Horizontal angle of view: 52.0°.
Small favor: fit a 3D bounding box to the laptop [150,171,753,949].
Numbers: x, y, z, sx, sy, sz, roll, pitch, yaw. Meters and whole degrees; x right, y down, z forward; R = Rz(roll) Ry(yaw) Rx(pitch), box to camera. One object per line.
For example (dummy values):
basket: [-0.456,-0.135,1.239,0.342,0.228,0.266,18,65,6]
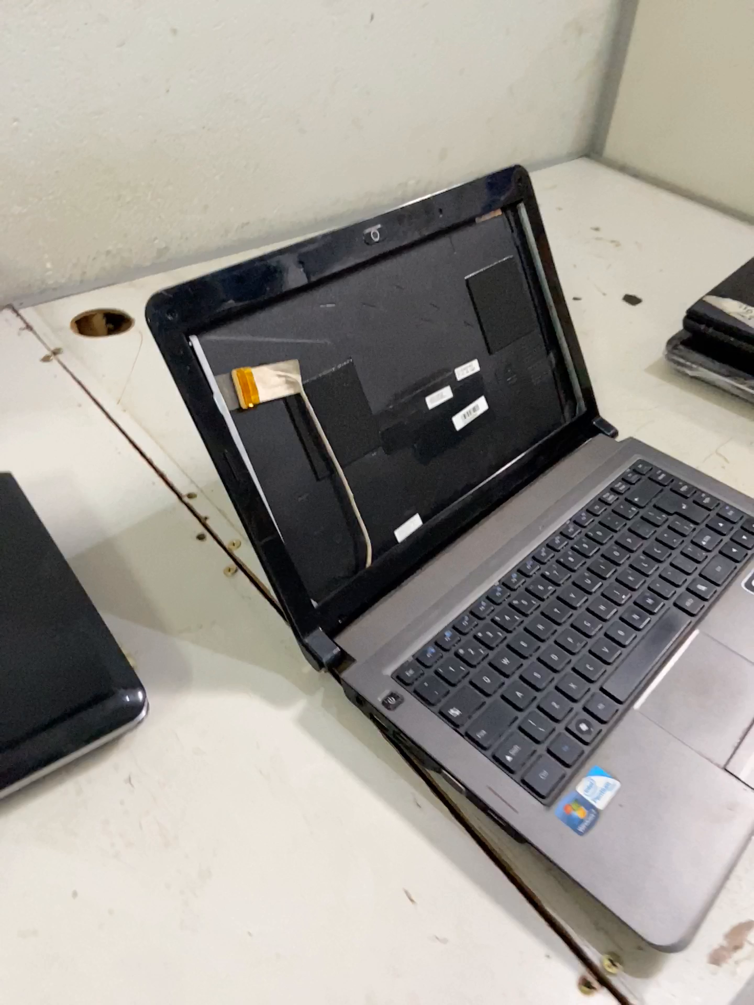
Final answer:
laptop: [0.122,-0.030,0.482,0.365,0.174,0.344,34,49,29]
